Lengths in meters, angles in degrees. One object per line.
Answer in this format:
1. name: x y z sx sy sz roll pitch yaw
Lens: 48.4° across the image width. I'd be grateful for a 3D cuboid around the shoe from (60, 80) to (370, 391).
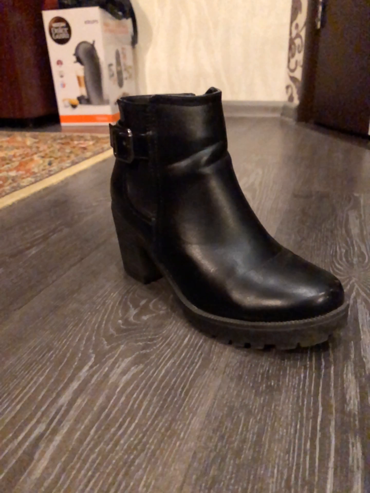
1. shoe: 0.018 -0.035 0.333 0.241 0.179 0.090 19 32 39
